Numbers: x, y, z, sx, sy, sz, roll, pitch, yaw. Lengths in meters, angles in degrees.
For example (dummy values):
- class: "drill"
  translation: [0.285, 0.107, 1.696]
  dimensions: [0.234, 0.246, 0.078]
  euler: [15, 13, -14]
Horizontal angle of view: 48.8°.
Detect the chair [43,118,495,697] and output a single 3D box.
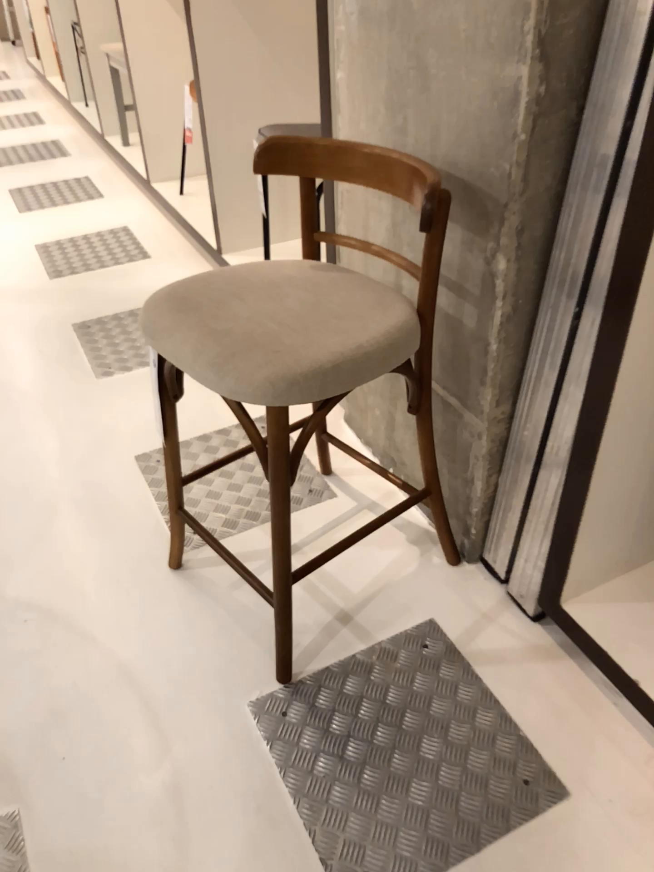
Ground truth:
- class: "chair"
  translation: [-0.083, -0.065, 1.327]
  dimensions: [0.482, 0.814, 0.492]
  euler: [-28, 44, -30]
